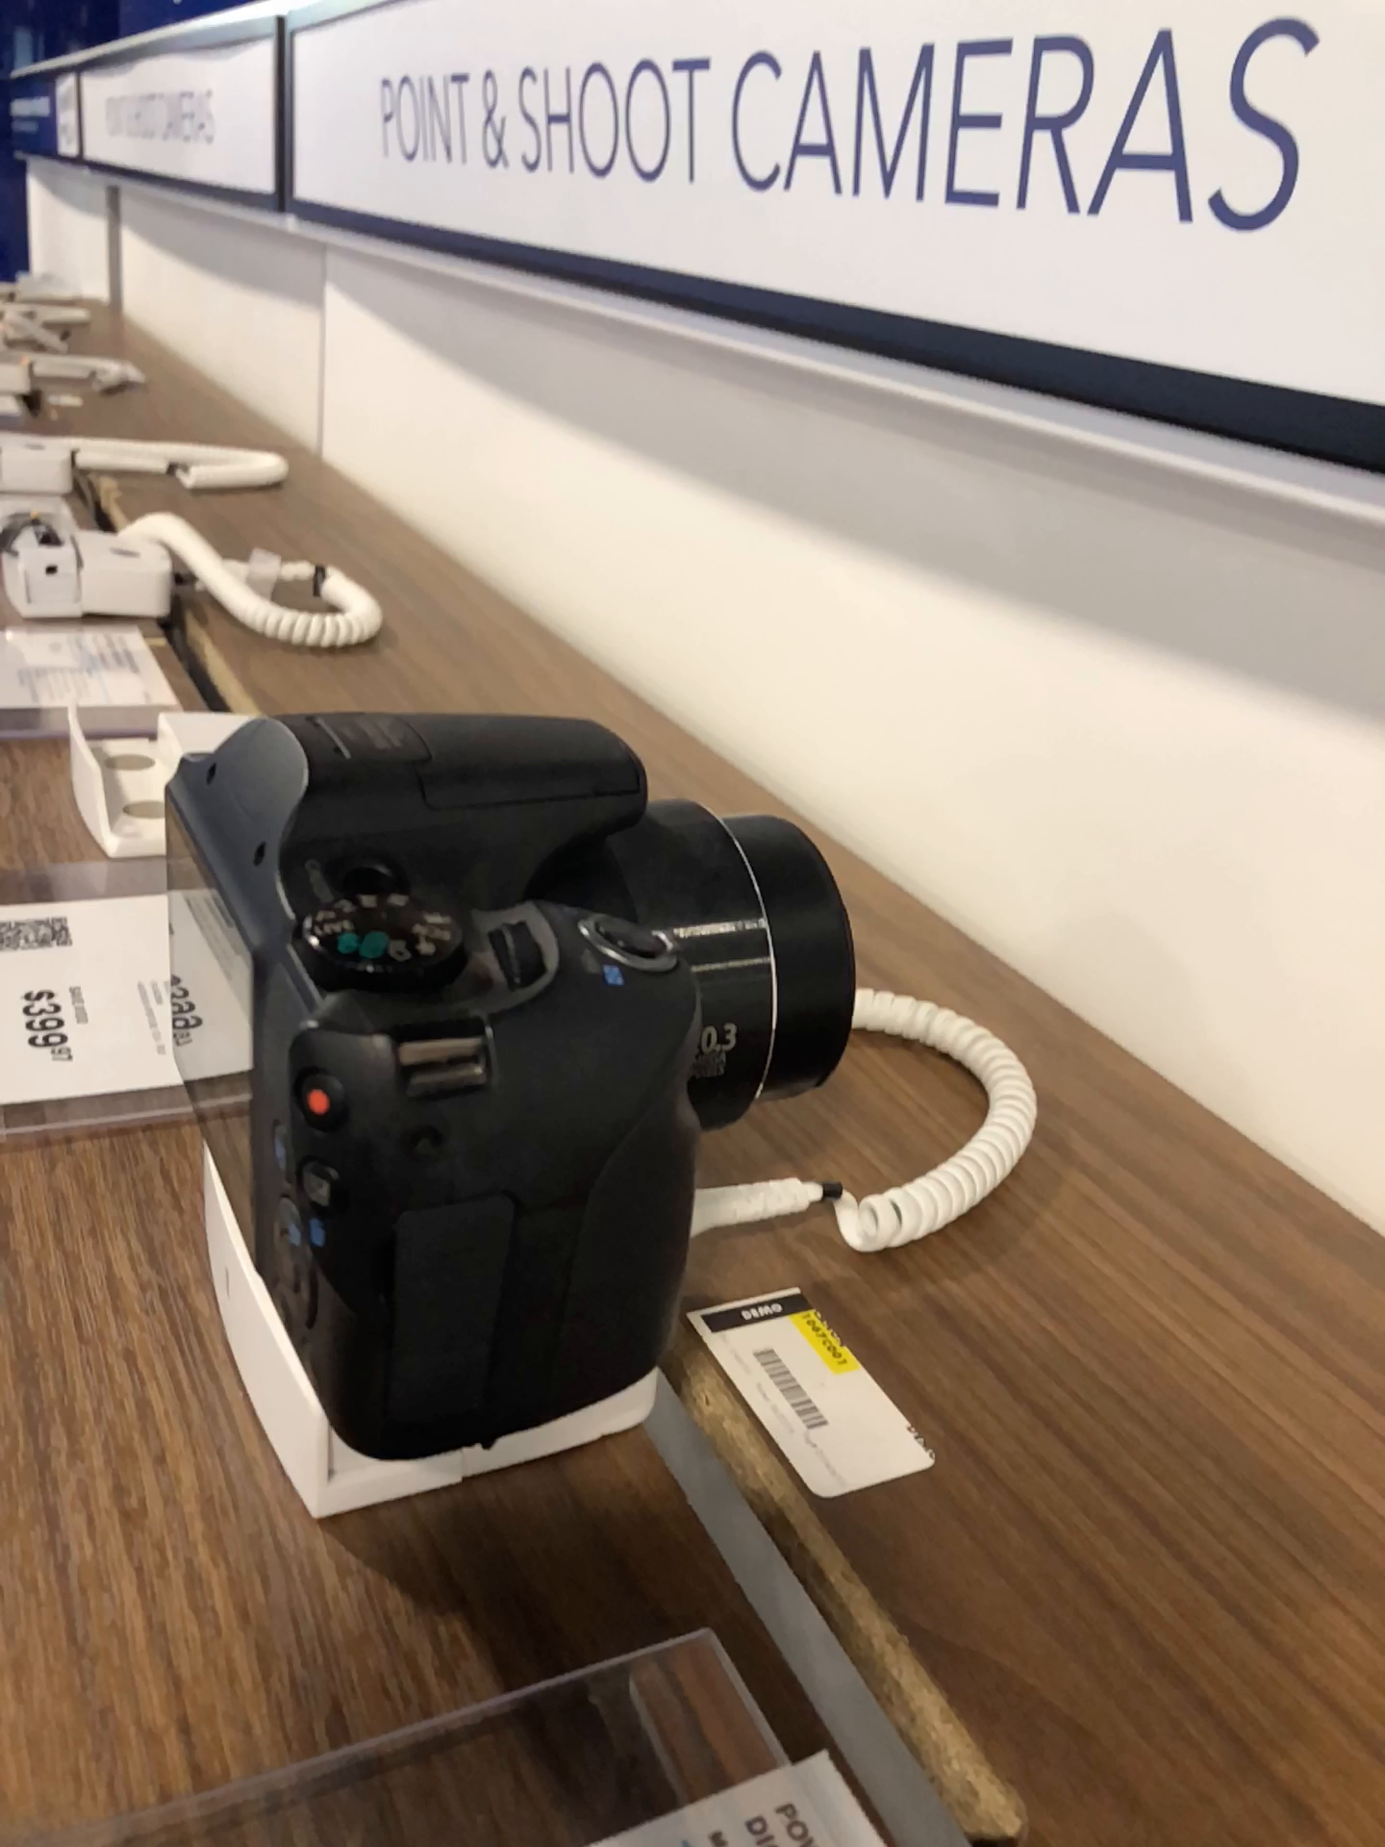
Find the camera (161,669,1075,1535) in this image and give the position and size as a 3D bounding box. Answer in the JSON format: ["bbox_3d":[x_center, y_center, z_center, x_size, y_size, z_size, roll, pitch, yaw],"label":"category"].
[{"bbox_3d":[-0.023,0.014,0.257,0.101,0.080,0.121,-6,28,-30],"label":"camera"}]
